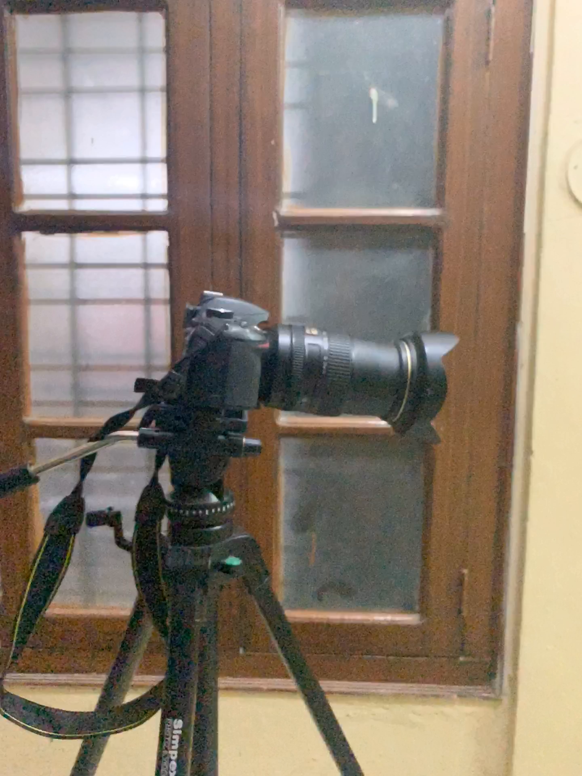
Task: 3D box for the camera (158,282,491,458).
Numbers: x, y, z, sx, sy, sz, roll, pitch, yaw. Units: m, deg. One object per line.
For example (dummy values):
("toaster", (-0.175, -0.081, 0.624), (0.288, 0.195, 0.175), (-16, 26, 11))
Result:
("camera", (0.025, -0.021, 0.569), (0.270, 0.120, 0.130), (6, 7, -6))
